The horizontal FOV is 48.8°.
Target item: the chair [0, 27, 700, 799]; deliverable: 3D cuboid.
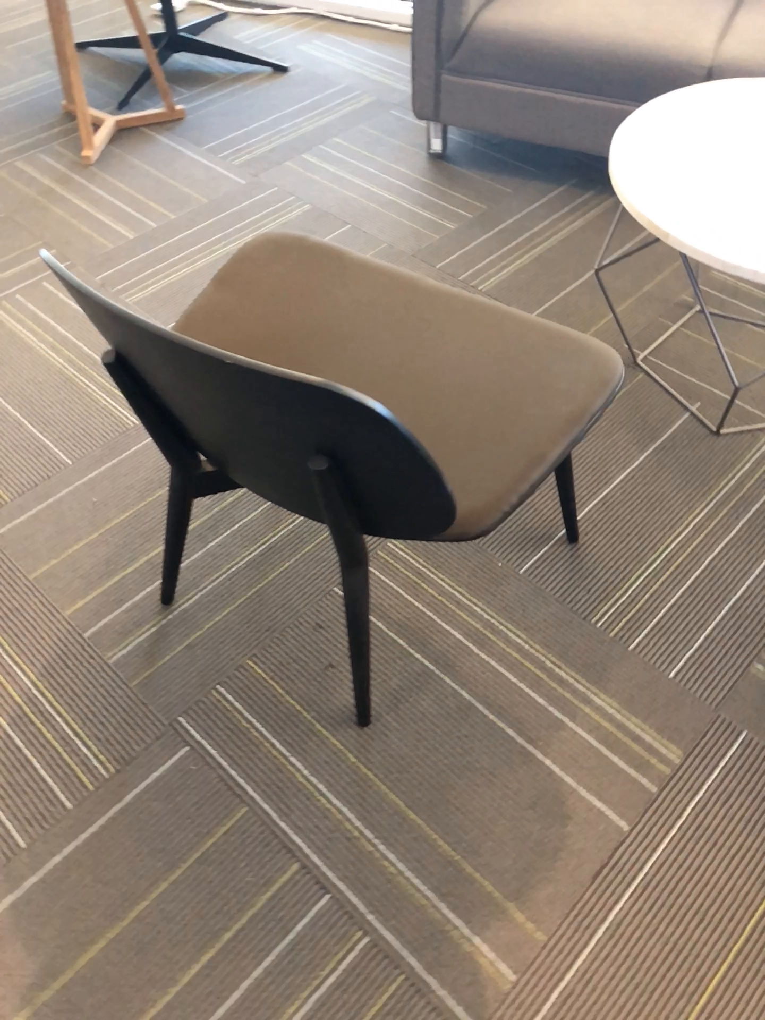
[{"bbox_3d":[-0.046,-0.175,1.325,0.671,0.737,0.742,25,54,22],"label":"chair"}]
